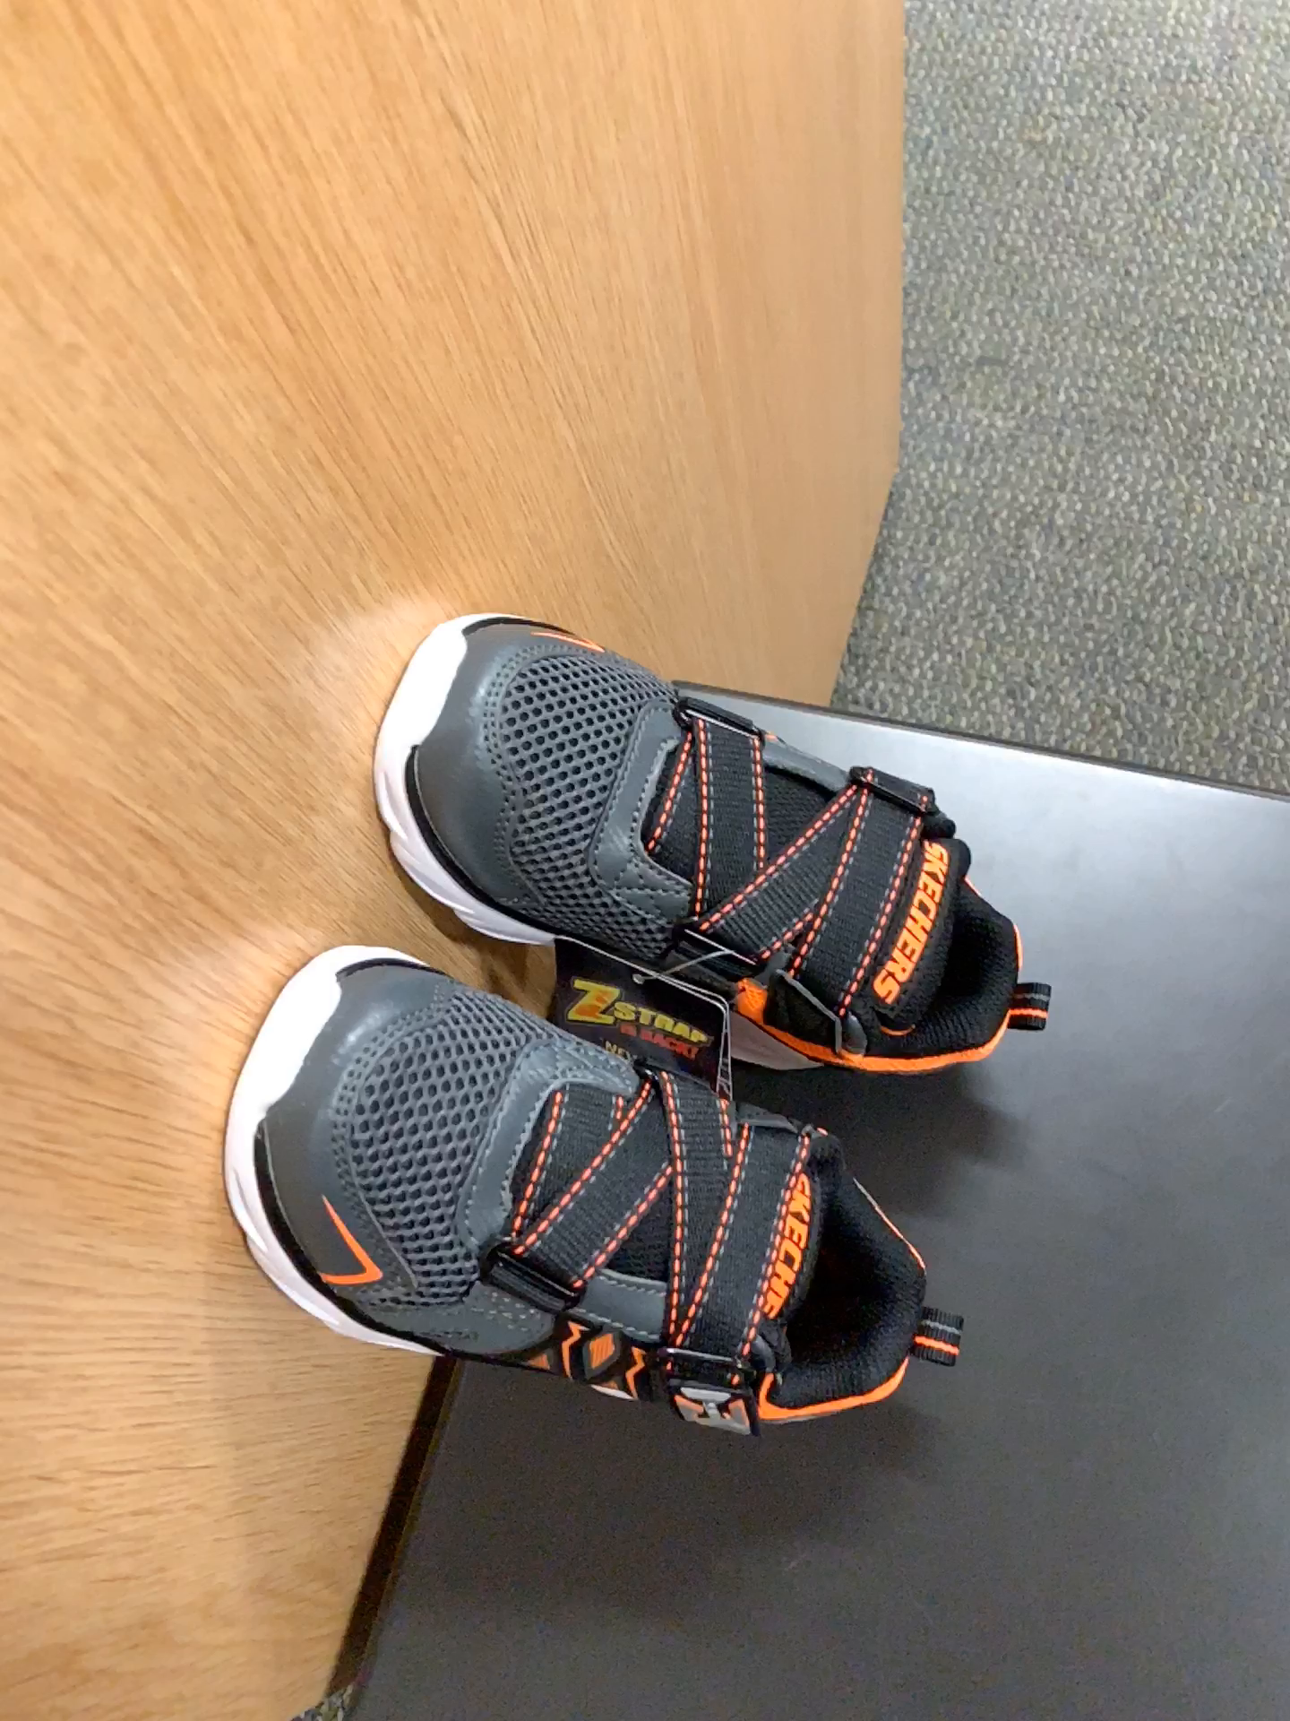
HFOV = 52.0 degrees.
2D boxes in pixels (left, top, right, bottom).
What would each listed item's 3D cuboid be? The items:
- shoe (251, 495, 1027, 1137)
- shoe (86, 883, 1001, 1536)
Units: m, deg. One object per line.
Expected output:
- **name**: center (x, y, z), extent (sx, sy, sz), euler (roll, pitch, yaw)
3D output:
- **shoe**: center (0.007, -0.002, 0.369), extent (0.100, 0.180, 0.090), euler (2, 66, 48)
- **shoe**: center (-0.014, 0.086, 0.319), extent (0.100, 0.180, 0.090), euler (2, 66, 48)
